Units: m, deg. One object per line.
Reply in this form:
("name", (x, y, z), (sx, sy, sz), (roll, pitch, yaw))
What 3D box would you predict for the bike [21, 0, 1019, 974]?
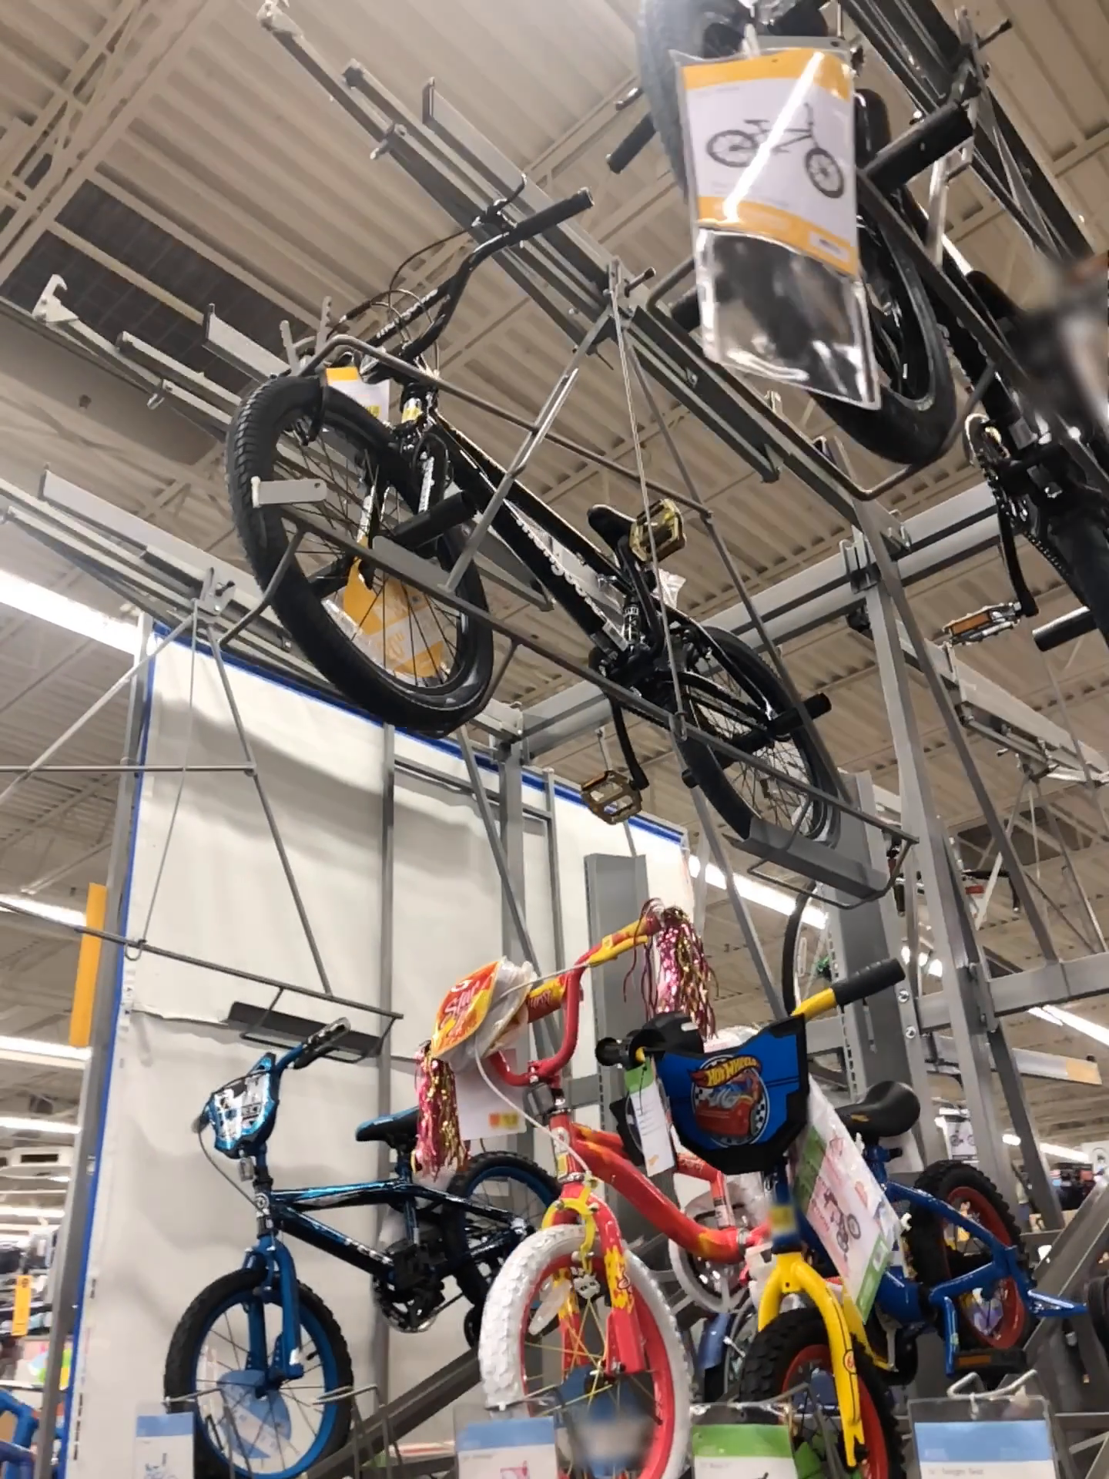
("bike", (0.016, -0.262, 2.006), (0.752, 0.909, 1.349), (-25, -35, 37))
